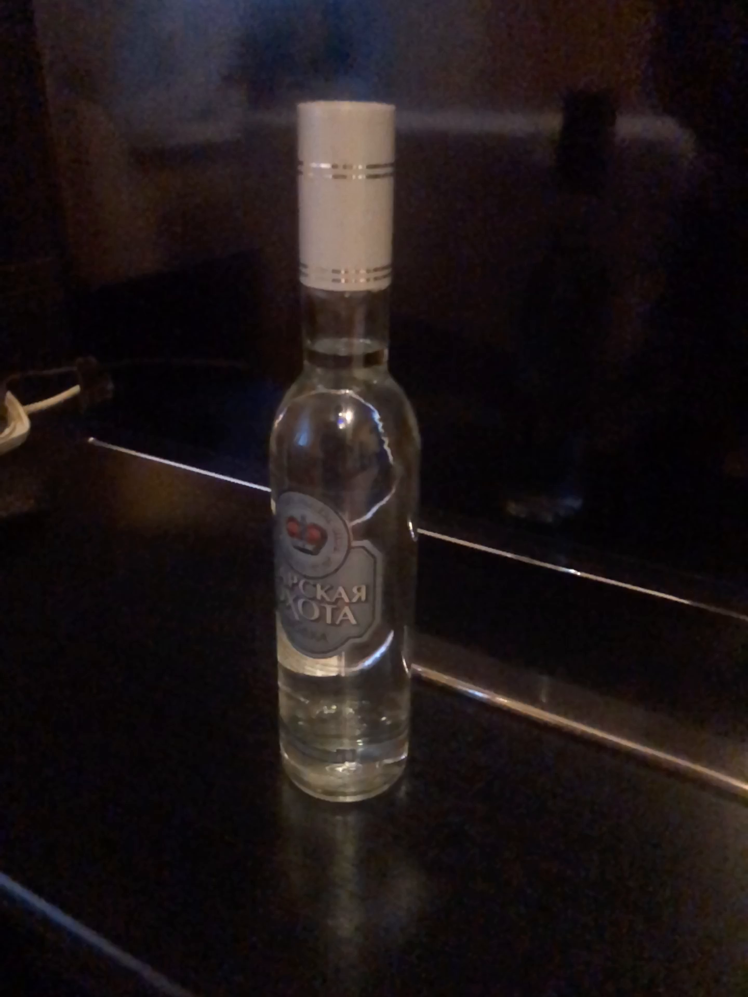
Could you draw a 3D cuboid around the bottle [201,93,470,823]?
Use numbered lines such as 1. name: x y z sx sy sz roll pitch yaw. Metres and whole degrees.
1. bottle: -0.012 -0.007 0.344 0.064 0.290 0.067 0 26 0
